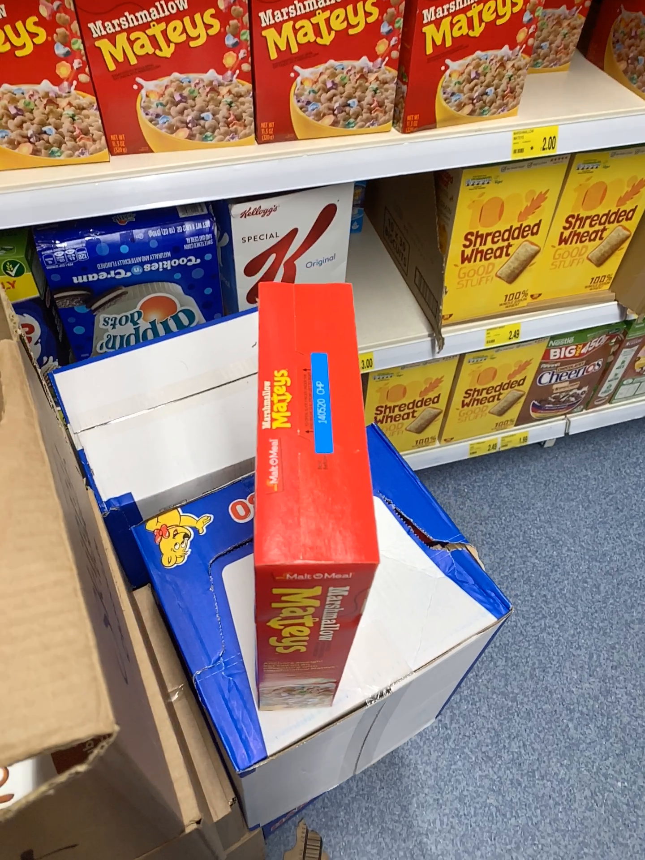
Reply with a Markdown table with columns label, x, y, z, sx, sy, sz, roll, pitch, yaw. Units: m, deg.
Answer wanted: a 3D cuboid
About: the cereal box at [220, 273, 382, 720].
| label | x | y | z | sx | sy | sz | roll | pitch | yaw |
| --- | --- | --- | --- | --- | --- | --- | --- | --- | --- |
| cereal box | -0.019 | 0.068 | 0.457 | 0.070 | 0.288 | 0.192 | 2 | 55 | -3 |
